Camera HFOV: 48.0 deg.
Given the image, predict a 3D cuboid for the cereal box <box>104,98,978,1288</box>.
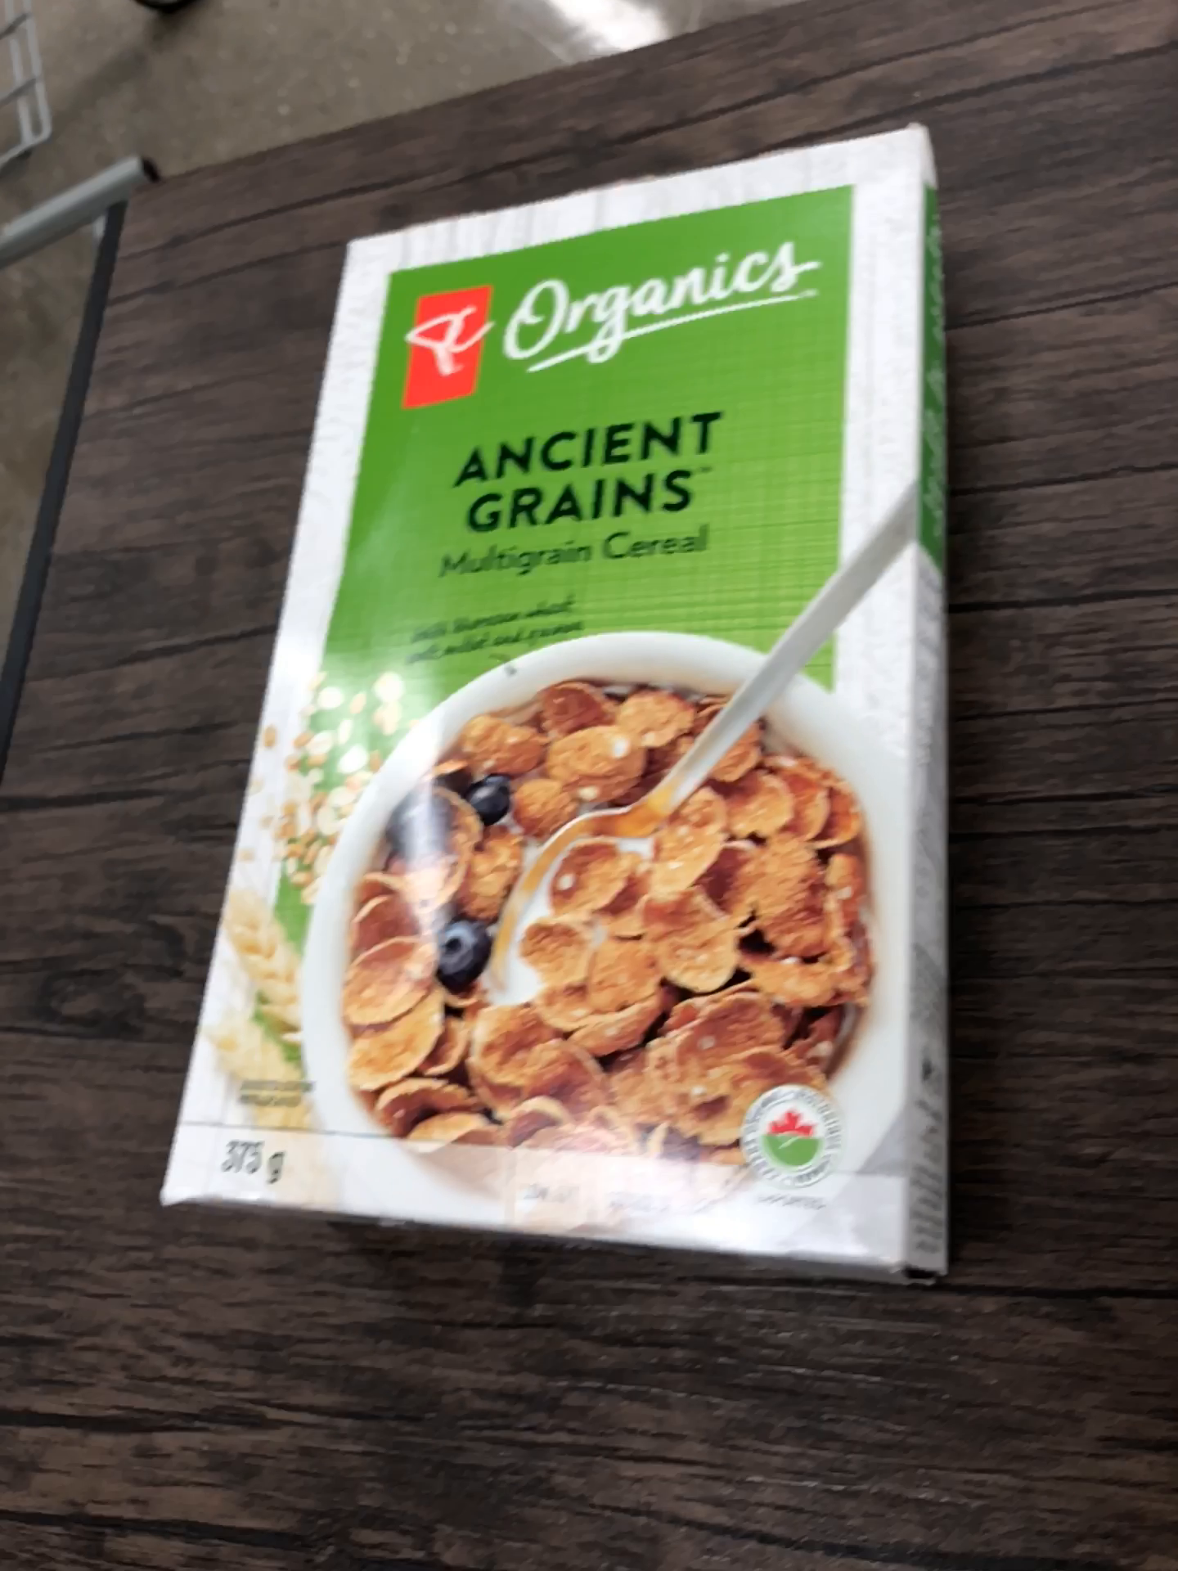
[{"bbox_3d":[0.000,-0.021,0.317,0.170,0.070,0.250,-3,70,21],"label":"cereal box"}]
